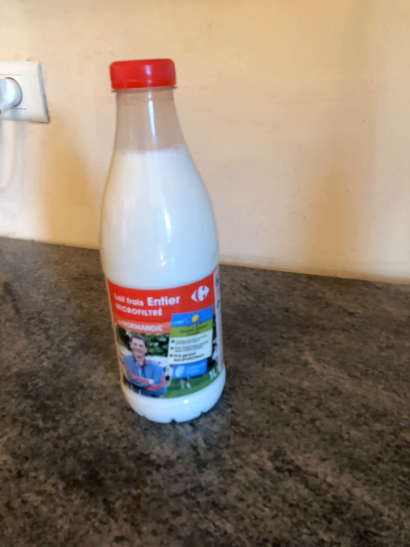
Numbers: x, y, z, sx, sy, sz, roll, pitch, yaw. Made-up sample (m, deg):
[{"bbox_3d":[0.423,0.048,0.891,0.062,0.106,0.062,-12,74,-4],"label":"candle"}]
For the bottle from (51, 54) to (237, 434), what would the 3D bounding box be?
[{"bbox_3d":[-0.027,-0.014,0.318,0.090,0.249,0.080,1,24,8],"label":"bottle"}]
